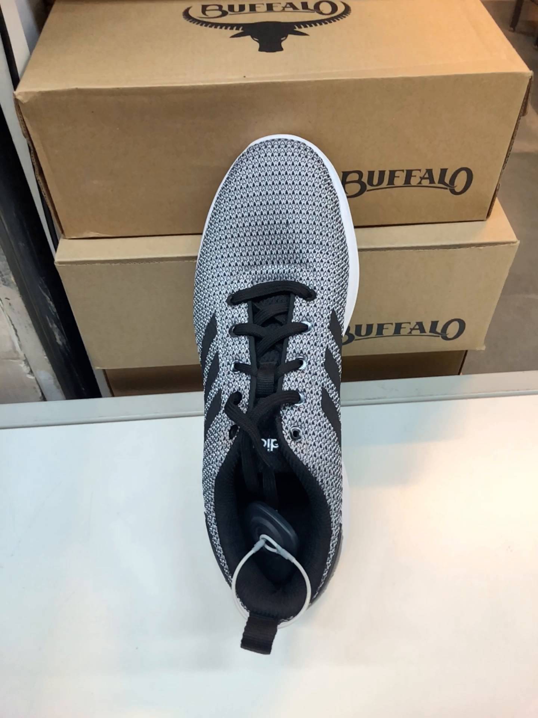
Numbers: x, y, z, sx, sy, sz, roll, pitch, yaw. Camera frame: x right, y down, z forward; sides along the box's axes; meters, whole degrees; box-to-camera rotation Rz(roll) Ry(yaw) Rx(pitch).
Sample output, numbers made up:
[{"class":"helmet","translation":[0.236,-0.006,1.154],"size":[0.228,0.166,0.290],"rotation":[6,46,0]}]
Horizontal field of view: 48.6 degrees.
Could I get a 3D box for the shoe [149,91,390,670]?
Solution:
[{"class":"shoe","translation":[0.001,0.009,0.343],"size":[0.112,0.098,0.282],"rotation":[-2,83,5]}]
